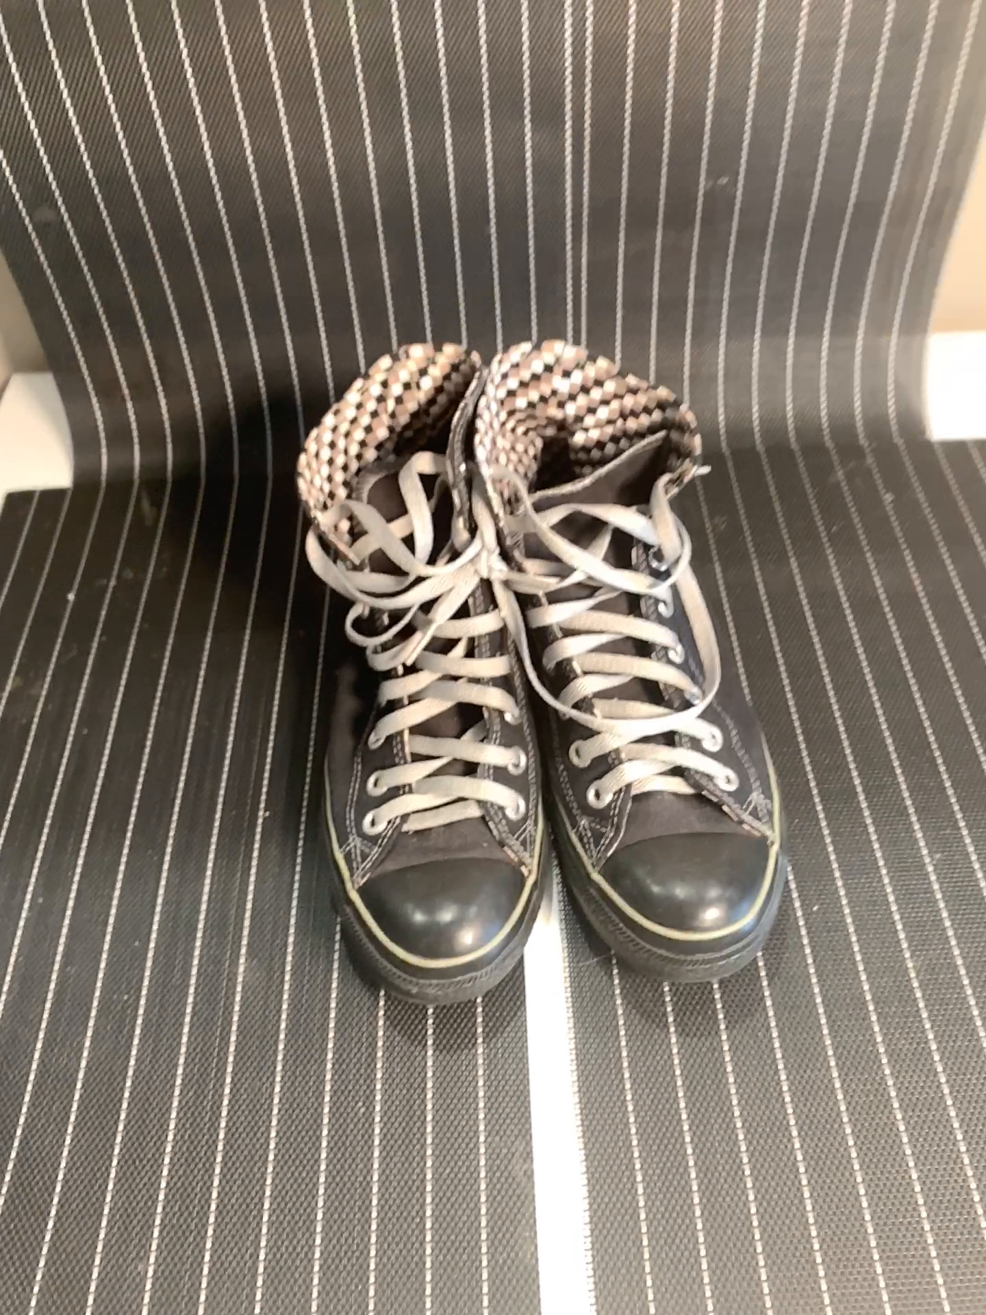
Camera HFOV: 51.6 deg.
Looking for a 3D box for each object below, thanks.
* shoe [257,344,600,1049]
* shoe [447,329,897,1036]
[{"bbox_3d":[-0.028,0.006,0.465,0.110,0.130,0.291,-5,53,0],"label":"shoe"},{"bbox_3d":[0.058,-0.001,0.469,0.110,0.130,0.291,-9,54,-3],"label":"shoe"}]
